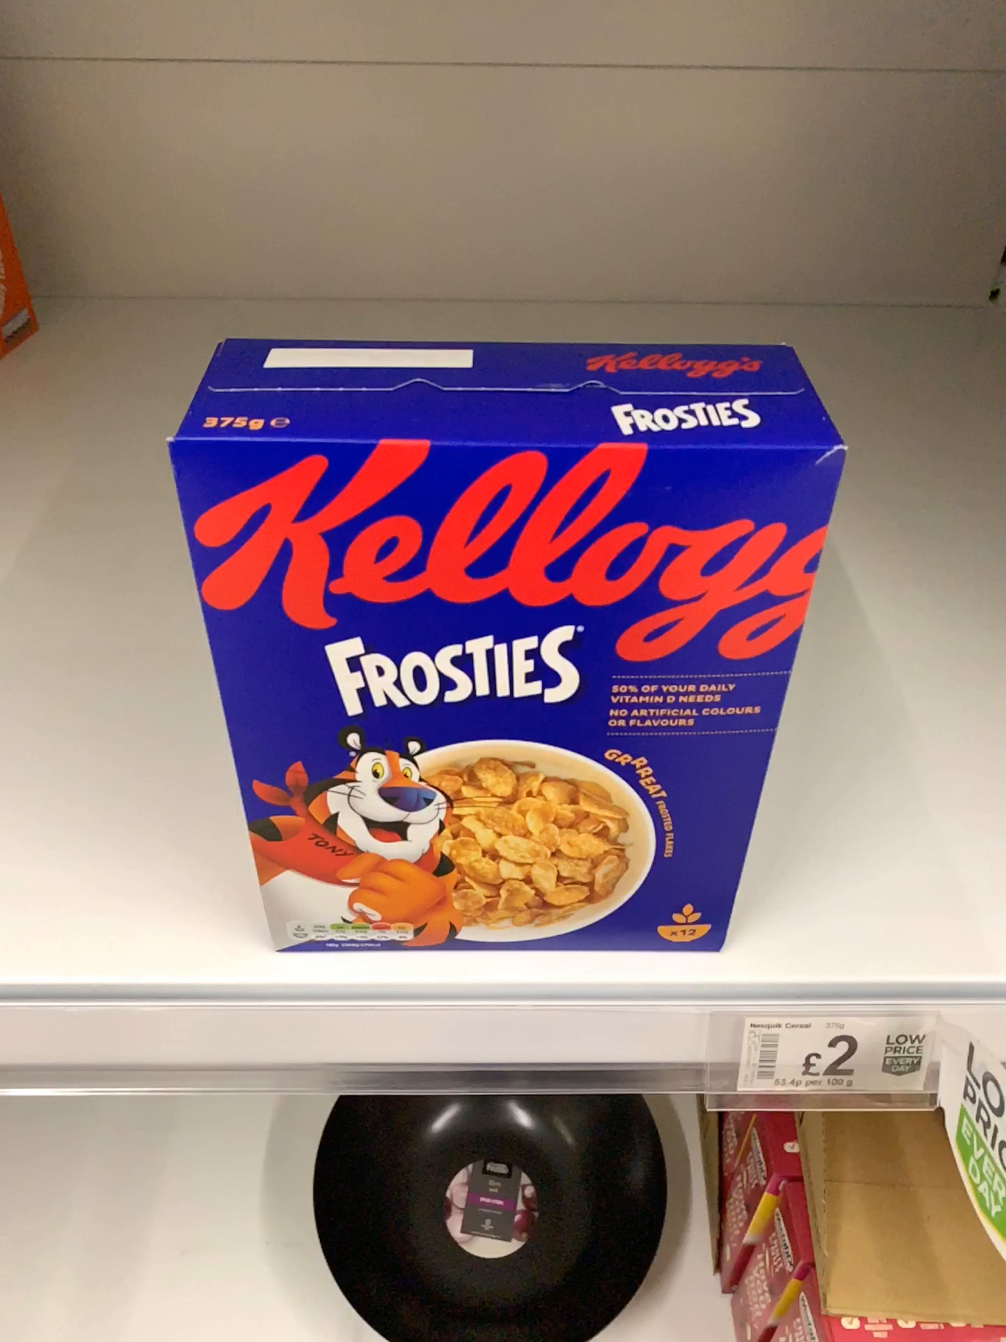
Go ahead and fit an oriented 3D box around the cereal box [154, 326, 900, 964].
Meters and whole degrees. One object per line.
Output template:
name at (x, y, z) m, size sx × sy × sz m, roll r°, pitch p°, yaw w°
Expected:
cereal box at (0.005, 0.005, 0.384) m, size 0.200 × 0.238 × 0.081 m, roll 0°, pitch 40°, yaw -1°
